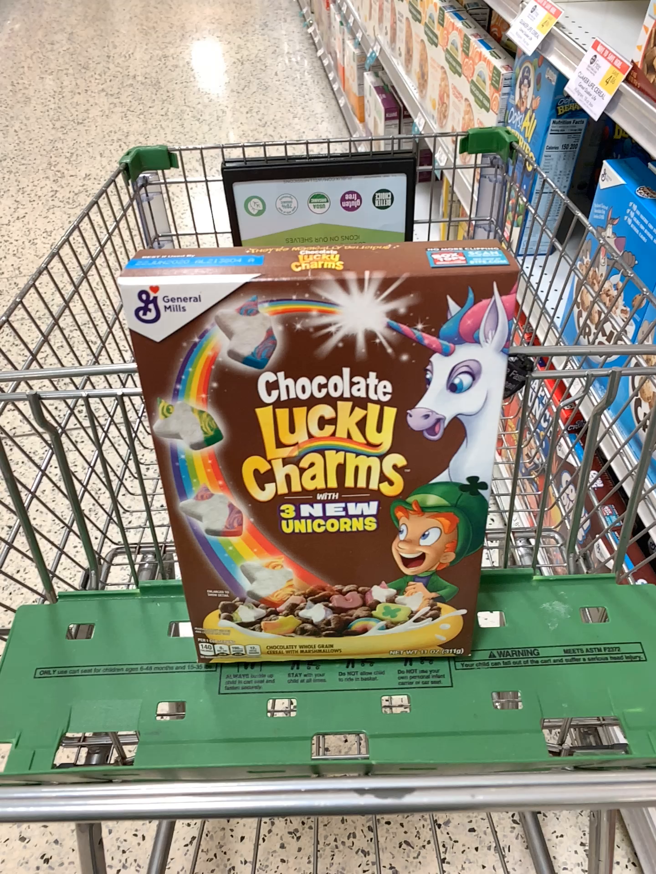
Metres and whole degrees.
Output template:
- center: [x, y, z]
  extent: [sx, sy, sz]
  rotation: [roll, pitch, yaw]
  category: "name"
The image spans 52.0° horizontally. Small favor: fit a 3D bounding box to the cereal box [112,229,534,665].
- center: [0.002, 0.028, 0.424]
  extent: [0.200, 0.297, 0.050]
  rotation: [-1, 35, 1]
  category: "cereal box"
